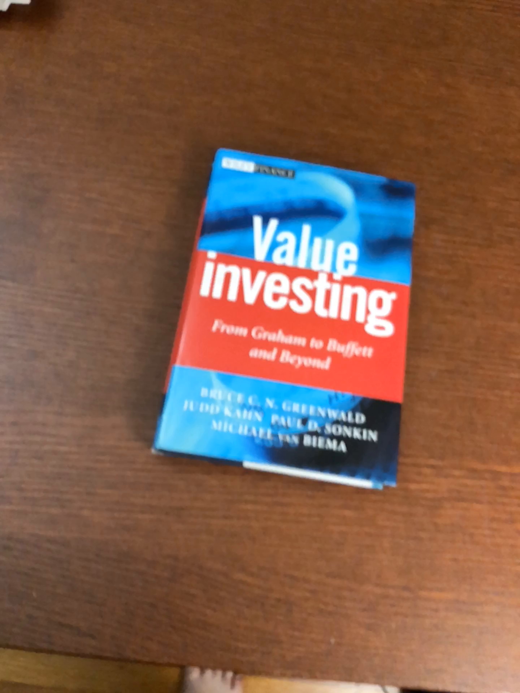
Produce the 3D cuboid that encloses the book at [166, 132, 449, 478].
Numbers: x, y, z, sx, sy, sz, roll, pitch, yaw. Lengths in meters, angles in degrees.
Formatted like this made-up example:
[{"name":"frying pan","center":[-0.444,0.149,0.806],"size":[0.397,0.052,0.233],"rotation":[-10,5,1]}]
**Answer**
[{"name":"book","center":[0.043,-0.038,0.415],"size":[0.170,0.020,0.231],"rotation":[10,69,-2]}]
